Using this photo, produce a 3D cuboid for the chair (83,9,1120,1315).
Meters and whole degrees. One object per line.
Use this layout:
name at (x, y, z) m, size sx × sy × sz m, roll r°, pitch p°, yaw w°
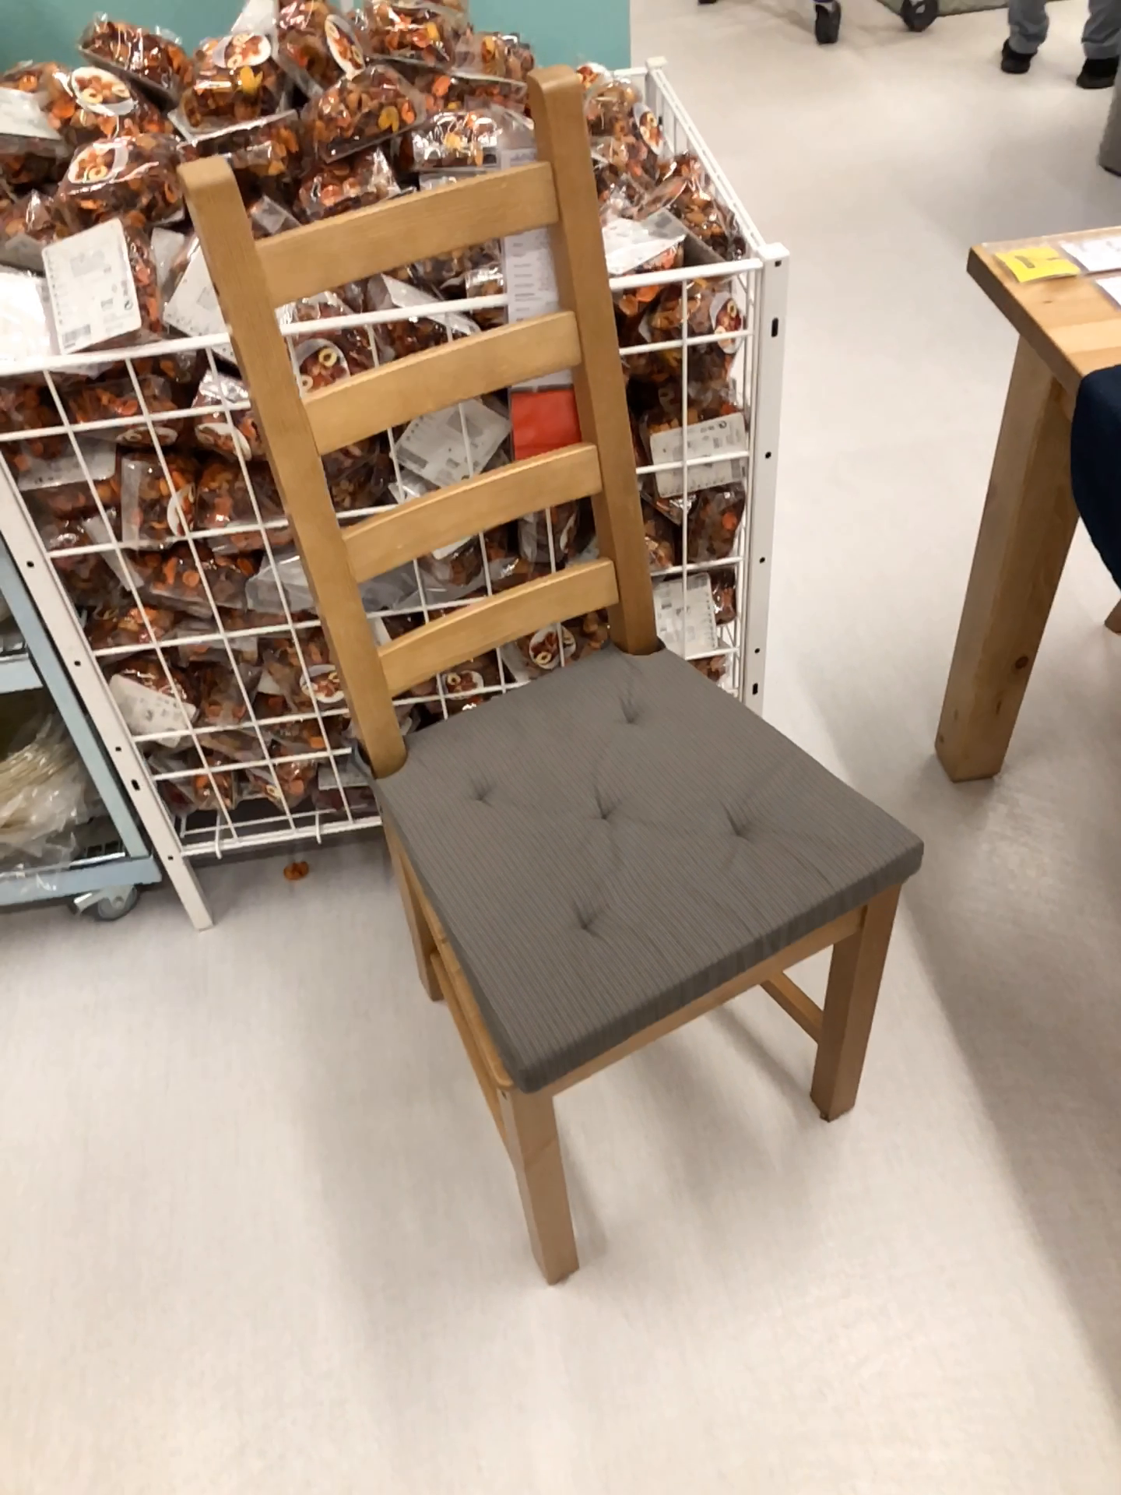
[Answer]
chair at (0.023, -0.013, 1.042) m, size 0.430 × 0.914 × 0.473 m, roll -25°, pitch 49°, yaw -18°
